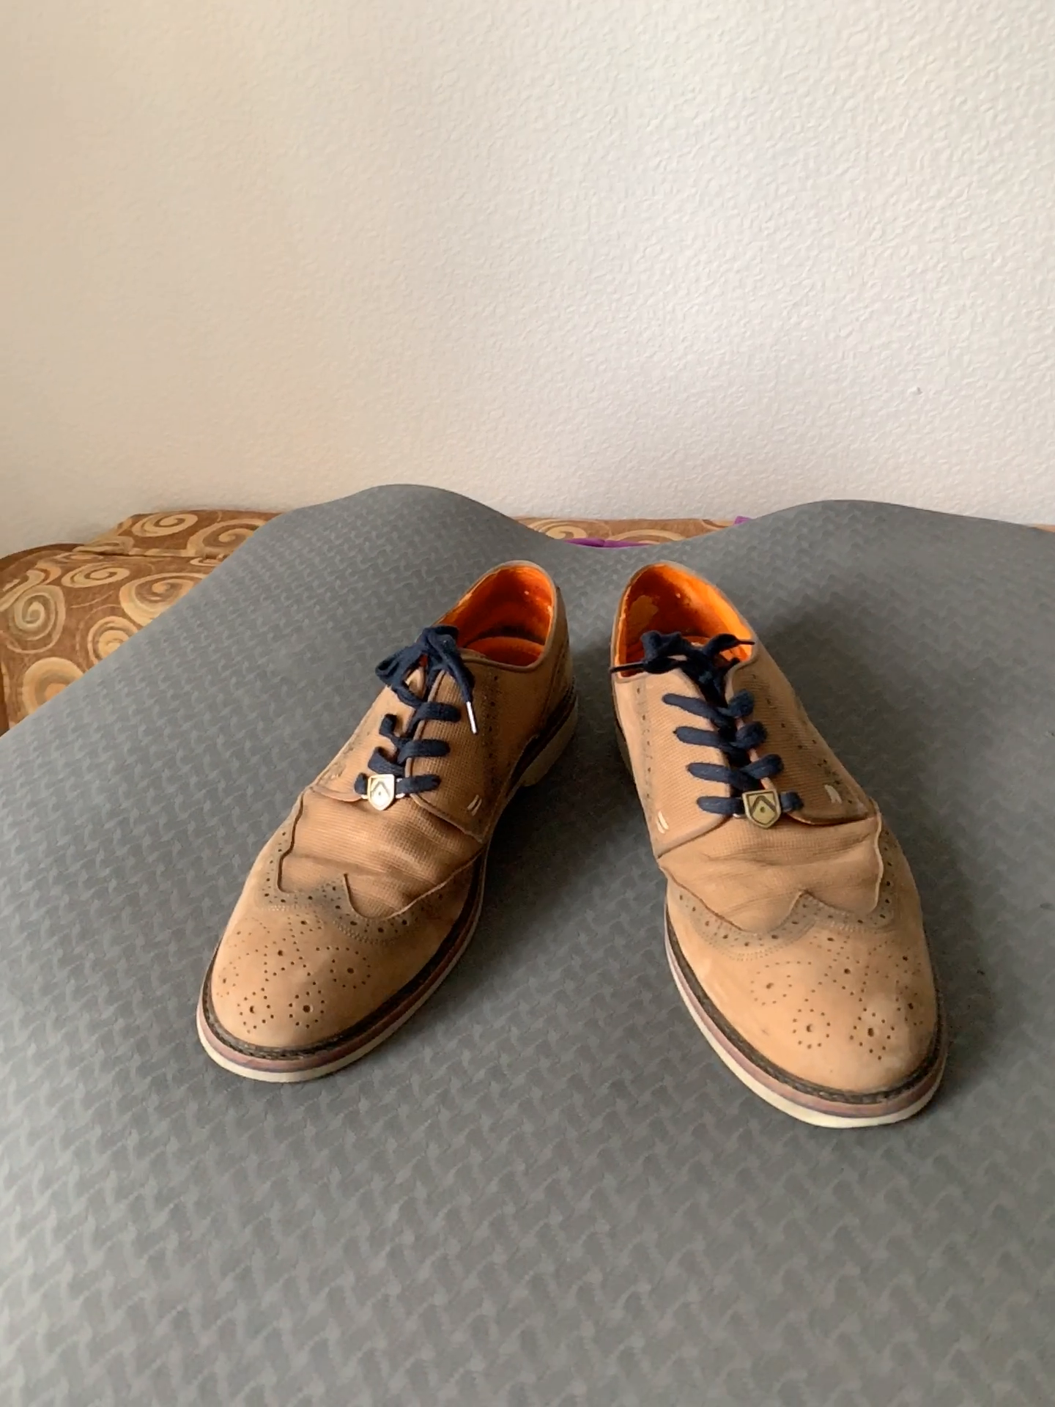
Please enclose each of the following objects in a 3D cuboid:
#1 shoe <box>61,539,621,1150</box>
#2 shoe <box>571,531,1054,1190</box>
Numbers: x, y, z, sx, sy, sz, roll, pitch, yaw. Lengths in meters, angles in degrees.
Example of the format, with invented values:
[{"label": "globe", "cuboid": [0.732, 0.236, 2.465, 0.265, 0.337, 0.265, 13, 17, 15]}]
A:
[{"label": "shoe", "cuboid": [-0.060, 0.039, 0.515, 0.110, 0.089, 0.301, 9, 40, 22]}, {"label": "shoe", "cuboid": [0.109, 0.040, 0.472, 0.110, 0.089, 0.292, -12, 37, -5]}]
